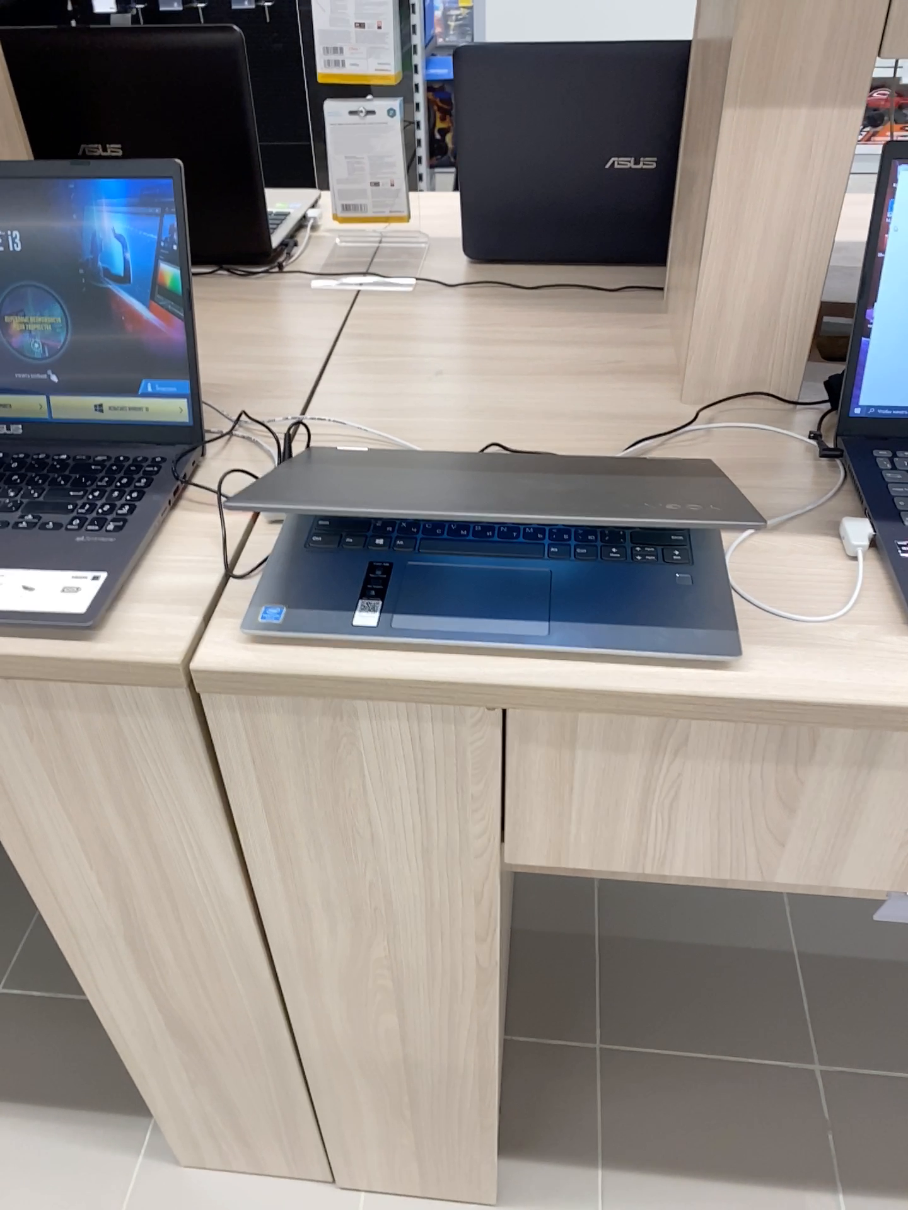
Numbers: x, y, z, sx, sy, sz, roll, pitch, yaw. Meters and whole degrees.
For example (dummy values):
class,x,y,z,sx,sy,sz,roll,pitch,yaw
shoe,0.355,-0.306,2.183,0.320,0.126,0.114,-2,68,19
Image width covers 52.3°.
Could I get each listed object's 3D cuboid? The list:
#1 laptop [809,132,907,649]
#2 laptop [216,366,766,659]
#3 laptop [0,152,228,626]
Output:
class,x,y,z,sx,sy,sz,roll,pitch,yaw
laptop,0.503,-0.164,0.630,0.389,0.215,0.304,2,40,4
laptop,0.031,-0.077,0.653,0.325,0.082,0.219,3,40,6
laptop,-0.403,-0.177,0.680,0.352,0.212,0.309,3,39,6
